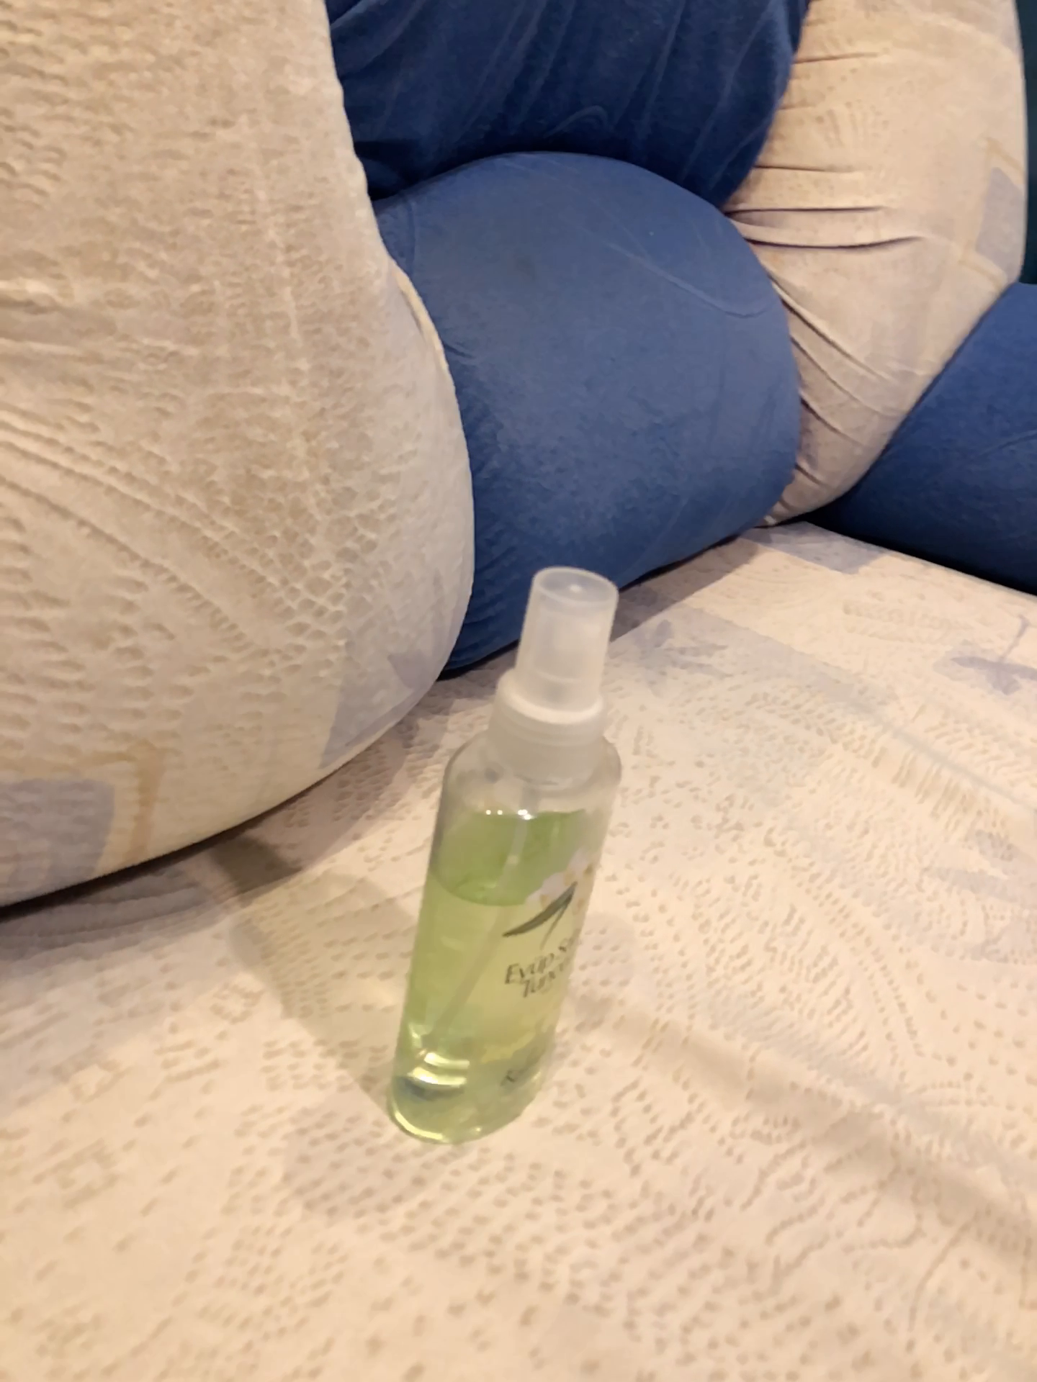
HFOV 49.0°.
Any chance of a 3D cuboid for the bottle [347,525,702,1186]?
[{"bbox_3d":[-0.002,0.041,0.276,0.037,0.149,0.058,27,33,29],"label":"bottle"}]
